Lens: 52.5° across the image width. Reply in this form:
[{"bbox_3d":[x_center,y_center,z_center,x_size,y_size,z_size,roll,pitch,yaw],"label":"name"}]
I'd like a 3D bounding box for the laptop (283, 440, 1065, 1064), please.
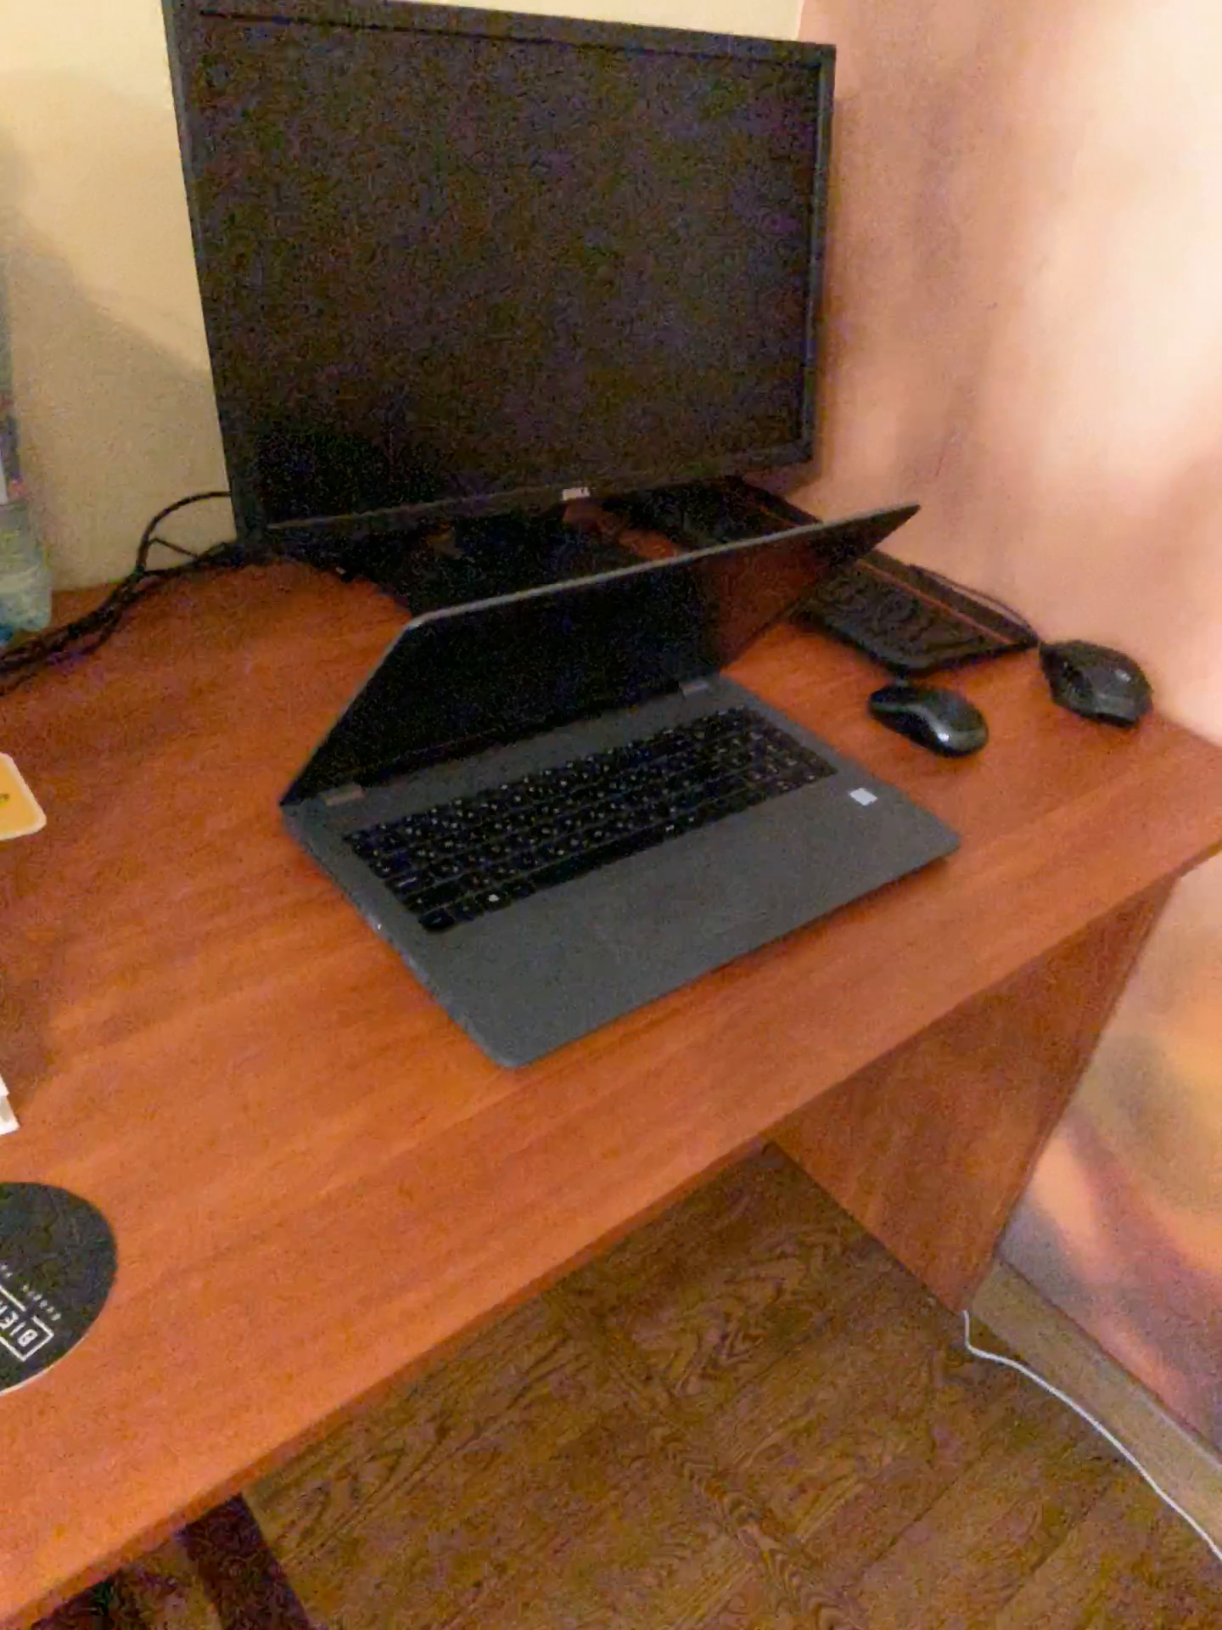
[{"bbox_3d":[0.034,-0.071,0.762,0.386,0.193,0.245,-20,44,-34],"label":"laptop"}]
